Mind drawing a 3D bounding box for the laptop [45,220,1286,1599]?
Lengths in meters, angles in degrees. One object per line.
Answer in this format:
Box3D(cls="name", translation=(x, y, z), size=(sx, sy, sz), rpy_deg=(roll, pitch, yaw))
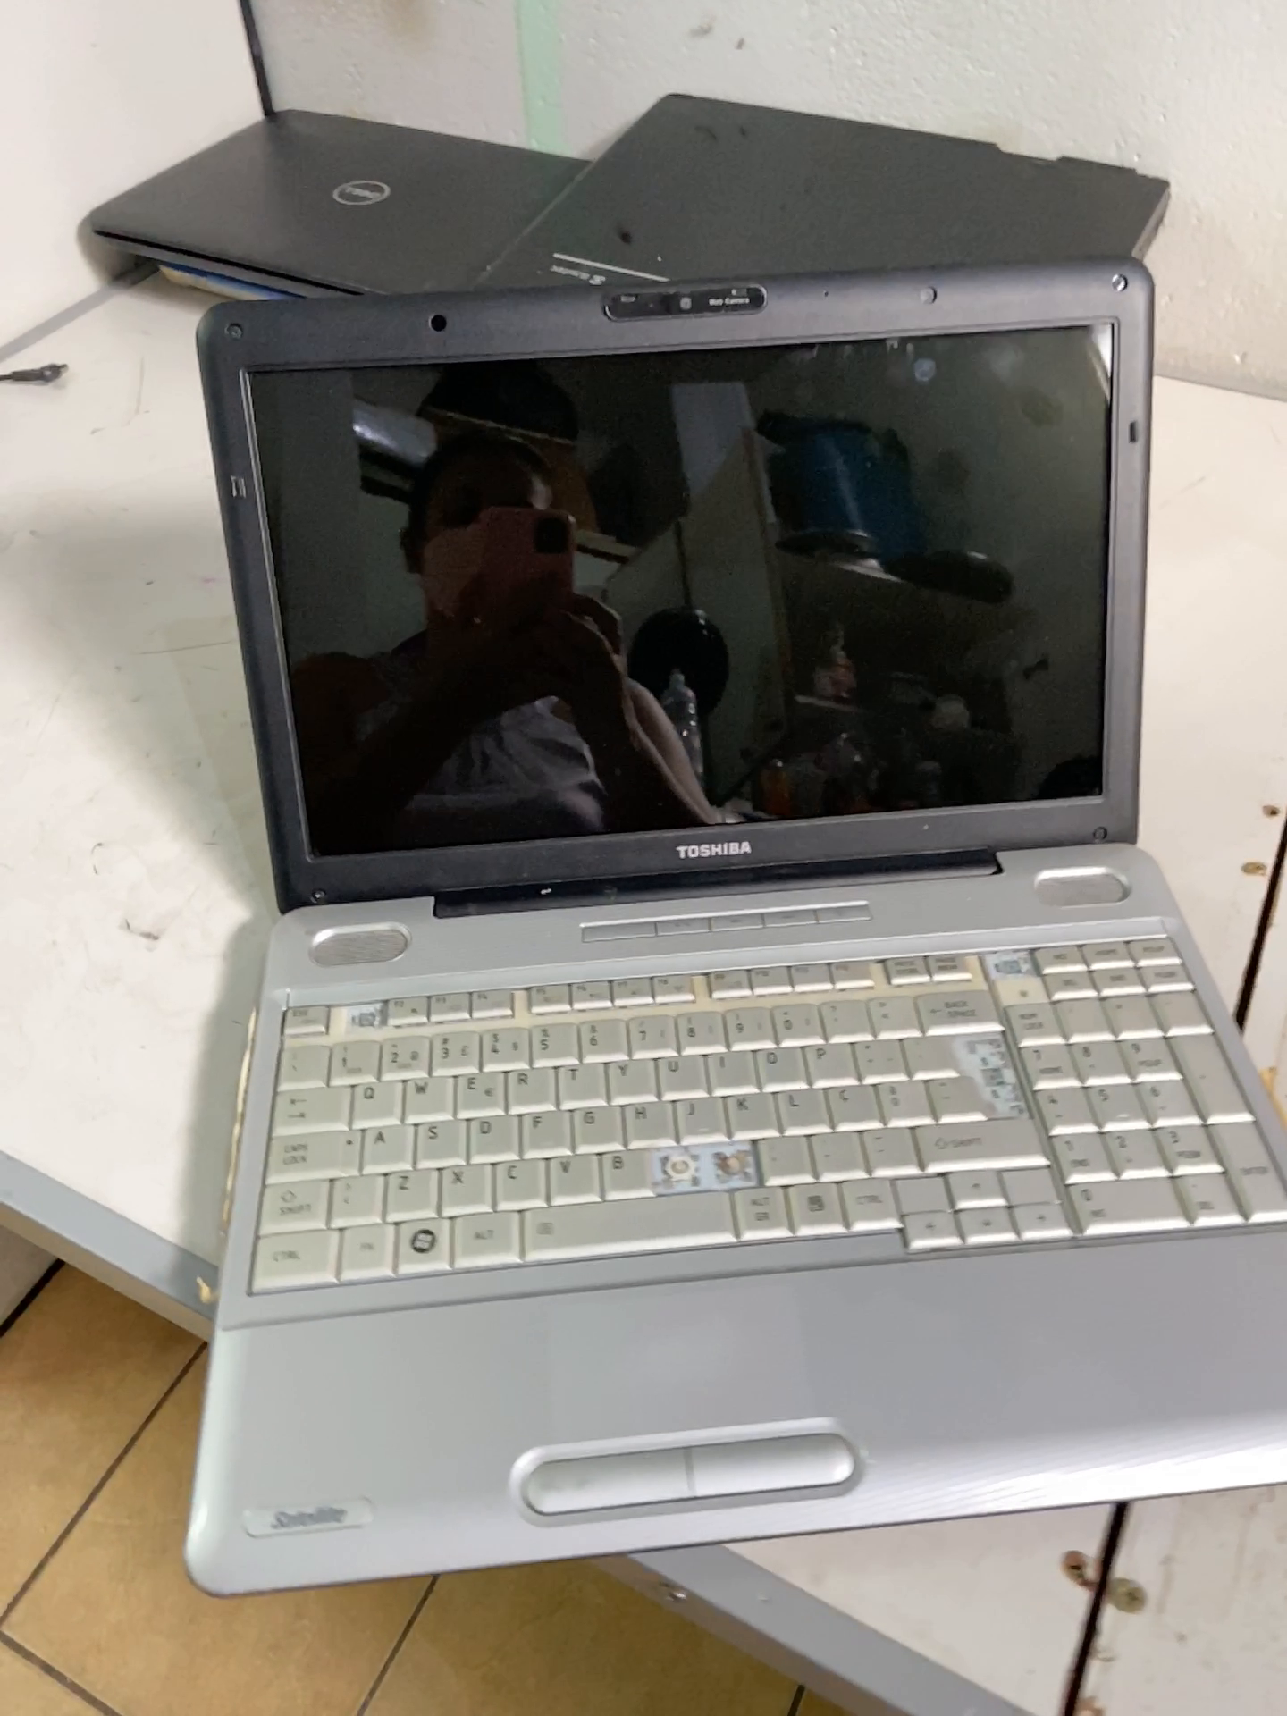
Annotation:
Box3D(cls="laptop", translation=(0.065, -0.021, 0.445), size=(0.370, 0.191, 0.401), rpy_deg=(-5, 48, -2))
